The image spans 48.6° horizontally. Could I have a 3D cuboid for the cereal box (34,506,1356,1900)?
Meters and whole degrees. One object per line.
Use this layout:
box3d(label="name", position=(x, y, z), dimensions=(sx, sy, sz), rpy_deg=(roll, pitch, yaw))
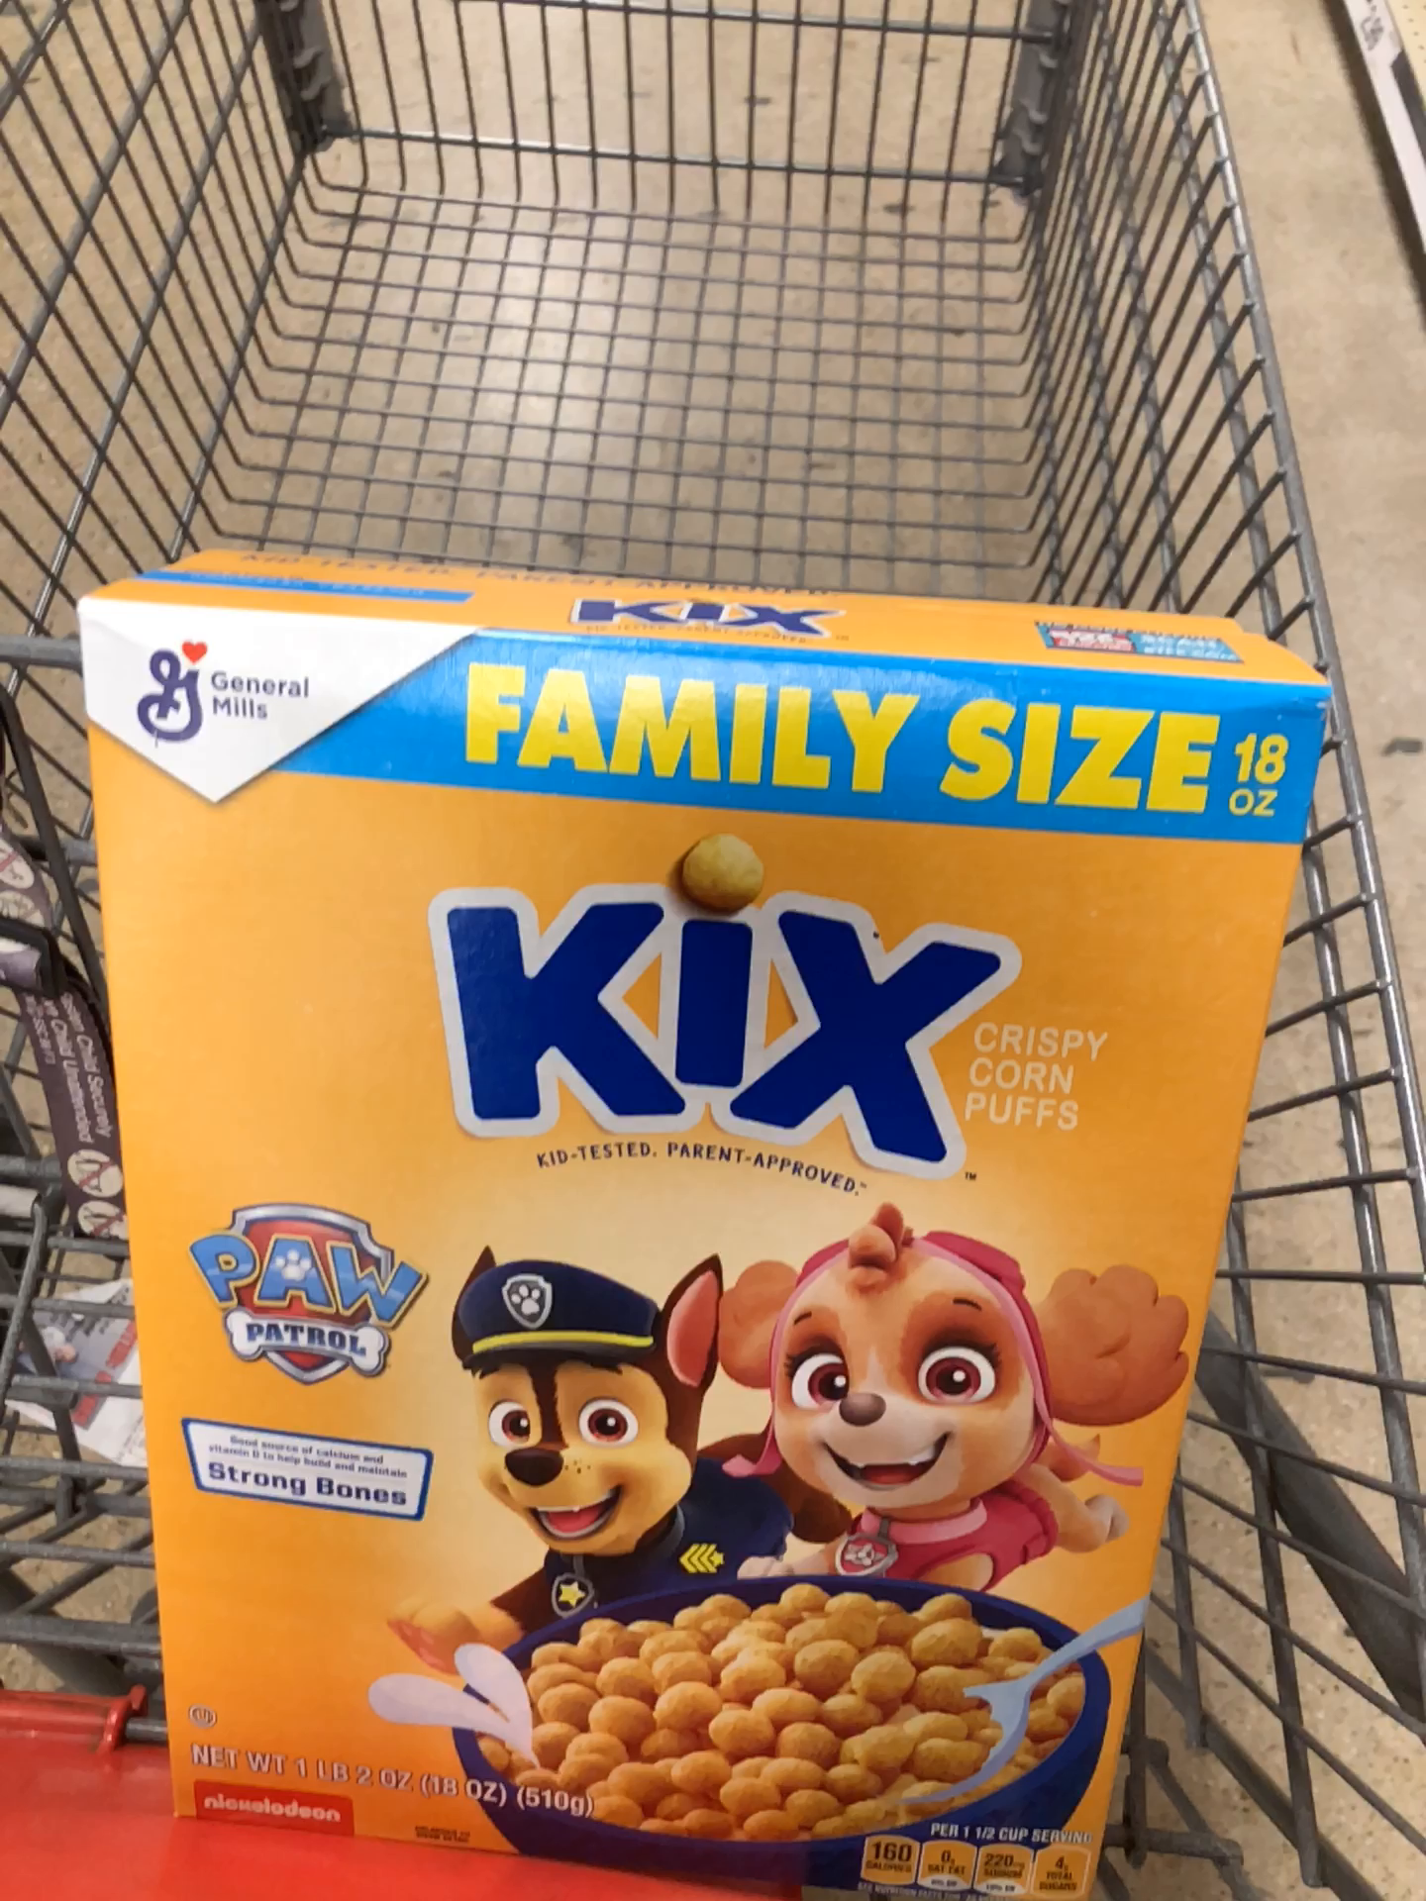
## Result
box3d(label="cereal box", position=(-0.013, 0.072, 0.400), dimensions=(0.250, 0.330, 0.090), rpy_deg=(6, 23, 6))
